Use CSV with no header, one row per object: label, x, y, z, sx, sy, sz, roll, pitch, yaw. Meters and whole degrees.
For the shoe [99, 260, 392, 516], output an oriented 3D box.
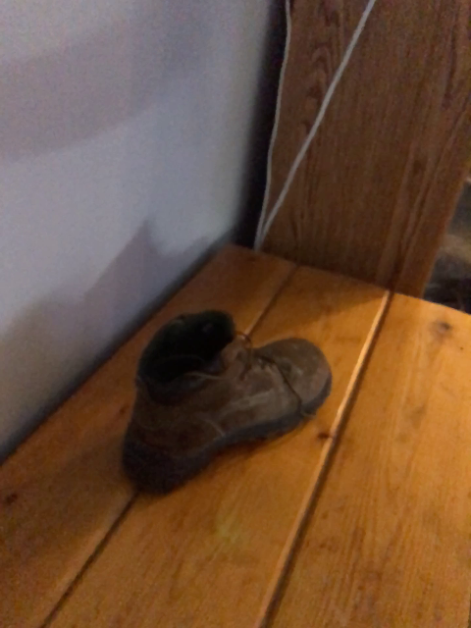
shoe,0.016,0.063,0.588,0.290,0.130,0.130,-22,45,-34
